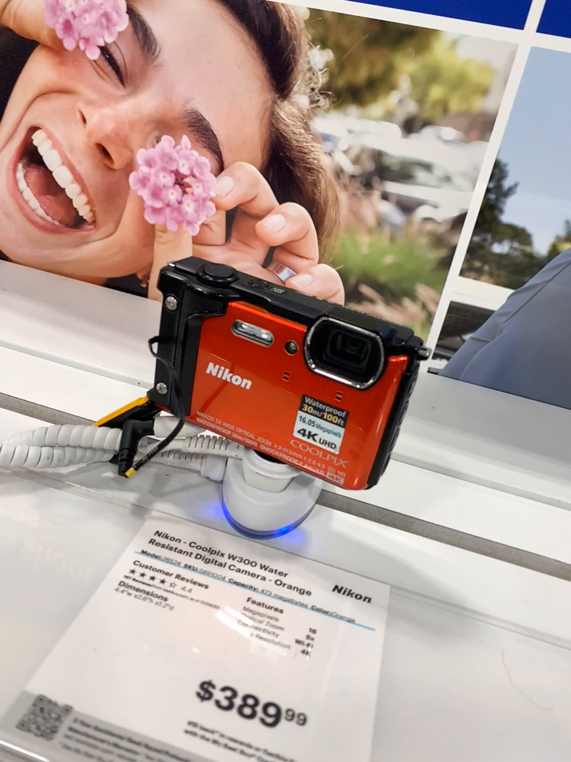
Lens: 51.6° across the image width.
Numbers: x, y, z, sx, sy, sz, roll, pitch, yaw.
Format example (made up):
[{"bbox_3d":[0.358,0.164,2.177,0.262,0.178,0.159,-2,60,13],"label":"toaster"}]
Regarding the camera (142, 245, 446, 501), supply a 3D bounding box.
[{"bbox_3d":[-0.001,-0.005,0.228,0.105,0.063,0.025,20,28,14],"label":"camera"}]
